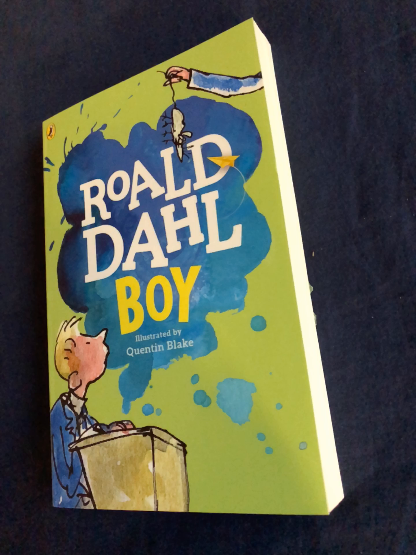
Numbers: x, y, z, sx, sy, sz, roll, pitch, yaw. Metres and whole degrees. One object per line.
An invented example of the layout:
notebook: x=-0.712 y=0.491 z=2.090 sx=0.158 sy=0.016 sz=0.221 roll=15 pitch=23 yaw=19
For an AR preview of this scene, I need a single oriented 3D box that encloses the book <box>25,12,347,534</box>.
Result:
book: x=-0.021 y=0.001 z=0.202 sx=0.126 sy=0.027 sz=0.189 roll=-12 pitch=78 yaw=26
